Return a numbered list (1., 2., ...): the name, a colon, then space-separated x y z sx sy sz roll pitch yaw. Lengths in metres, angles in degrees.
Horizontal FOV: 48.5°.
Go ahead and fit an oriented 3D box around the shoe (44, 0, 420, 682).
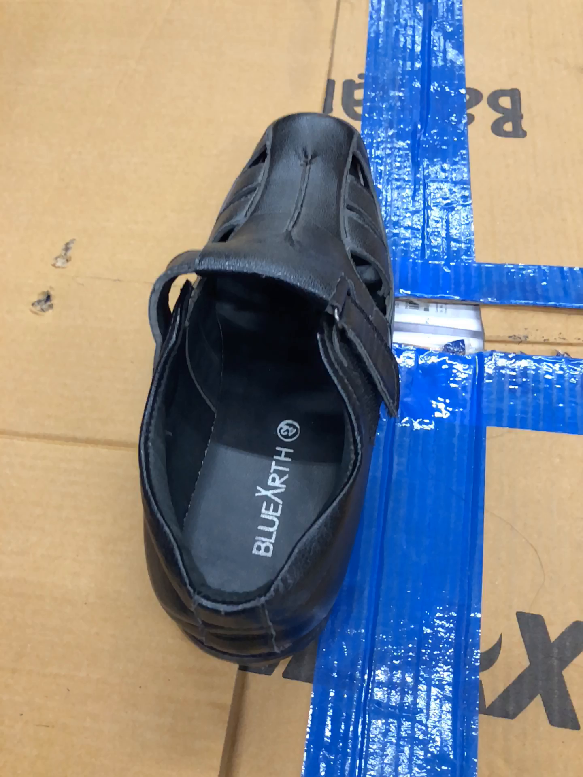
1. shoe: -0.001 -0.043 0.286 0.100 0.100 0.301 4 62 4
